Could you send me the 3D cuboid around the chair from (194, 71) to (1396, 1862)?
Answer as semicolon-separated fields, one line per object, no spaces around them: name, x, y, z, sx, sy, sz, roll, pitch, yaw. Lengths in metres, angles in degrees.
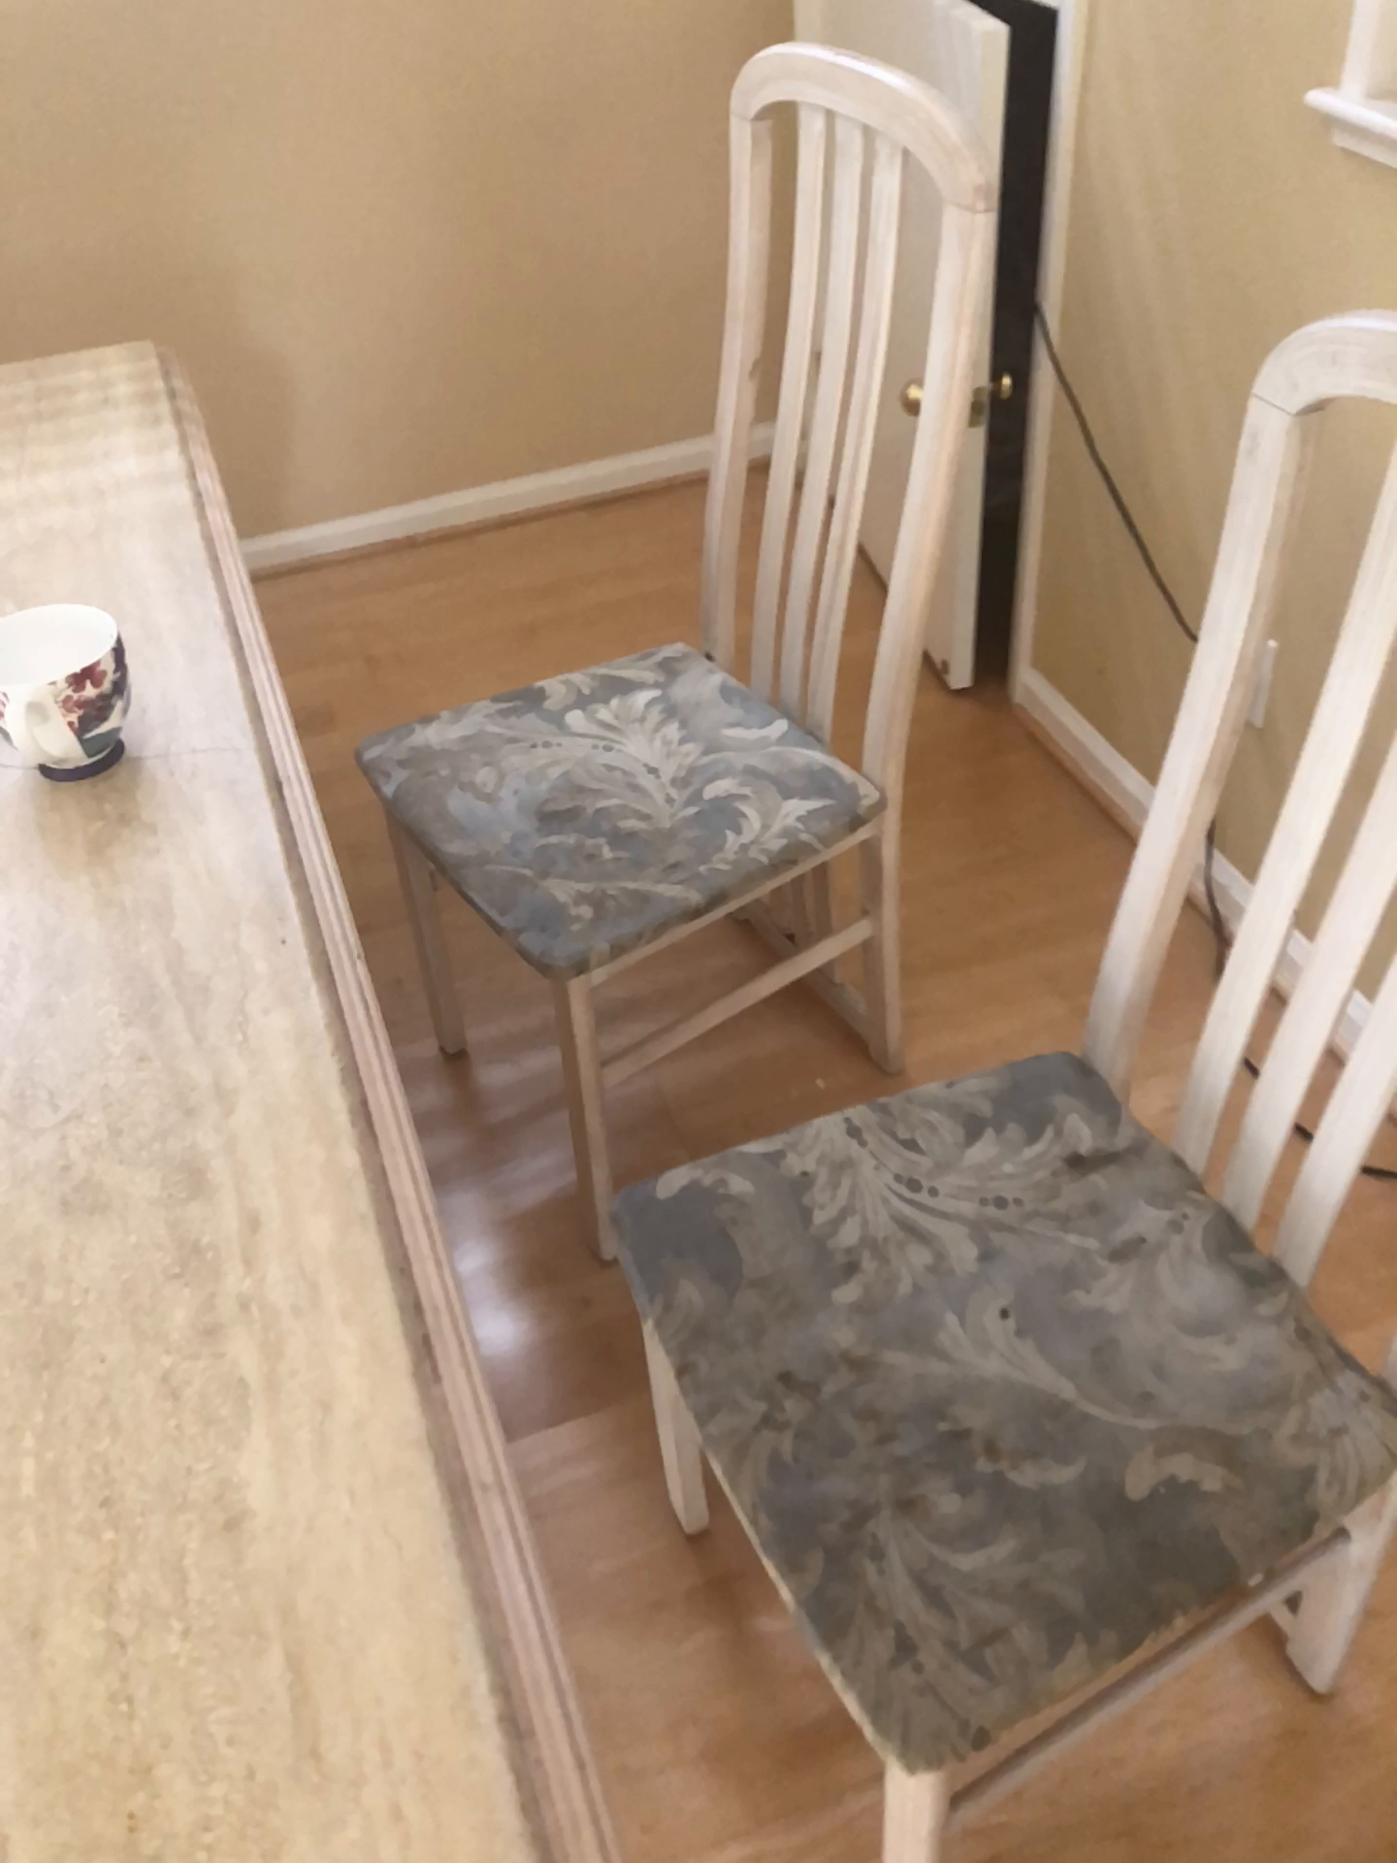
chair;0.151;0.171;0.987;0.561;1.140;0.483;-19;43;-17

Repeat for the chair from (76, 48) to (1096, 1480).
chair;-0.055;-0.097;1.445;0.562;1.140;0.482;-24;45;-18
